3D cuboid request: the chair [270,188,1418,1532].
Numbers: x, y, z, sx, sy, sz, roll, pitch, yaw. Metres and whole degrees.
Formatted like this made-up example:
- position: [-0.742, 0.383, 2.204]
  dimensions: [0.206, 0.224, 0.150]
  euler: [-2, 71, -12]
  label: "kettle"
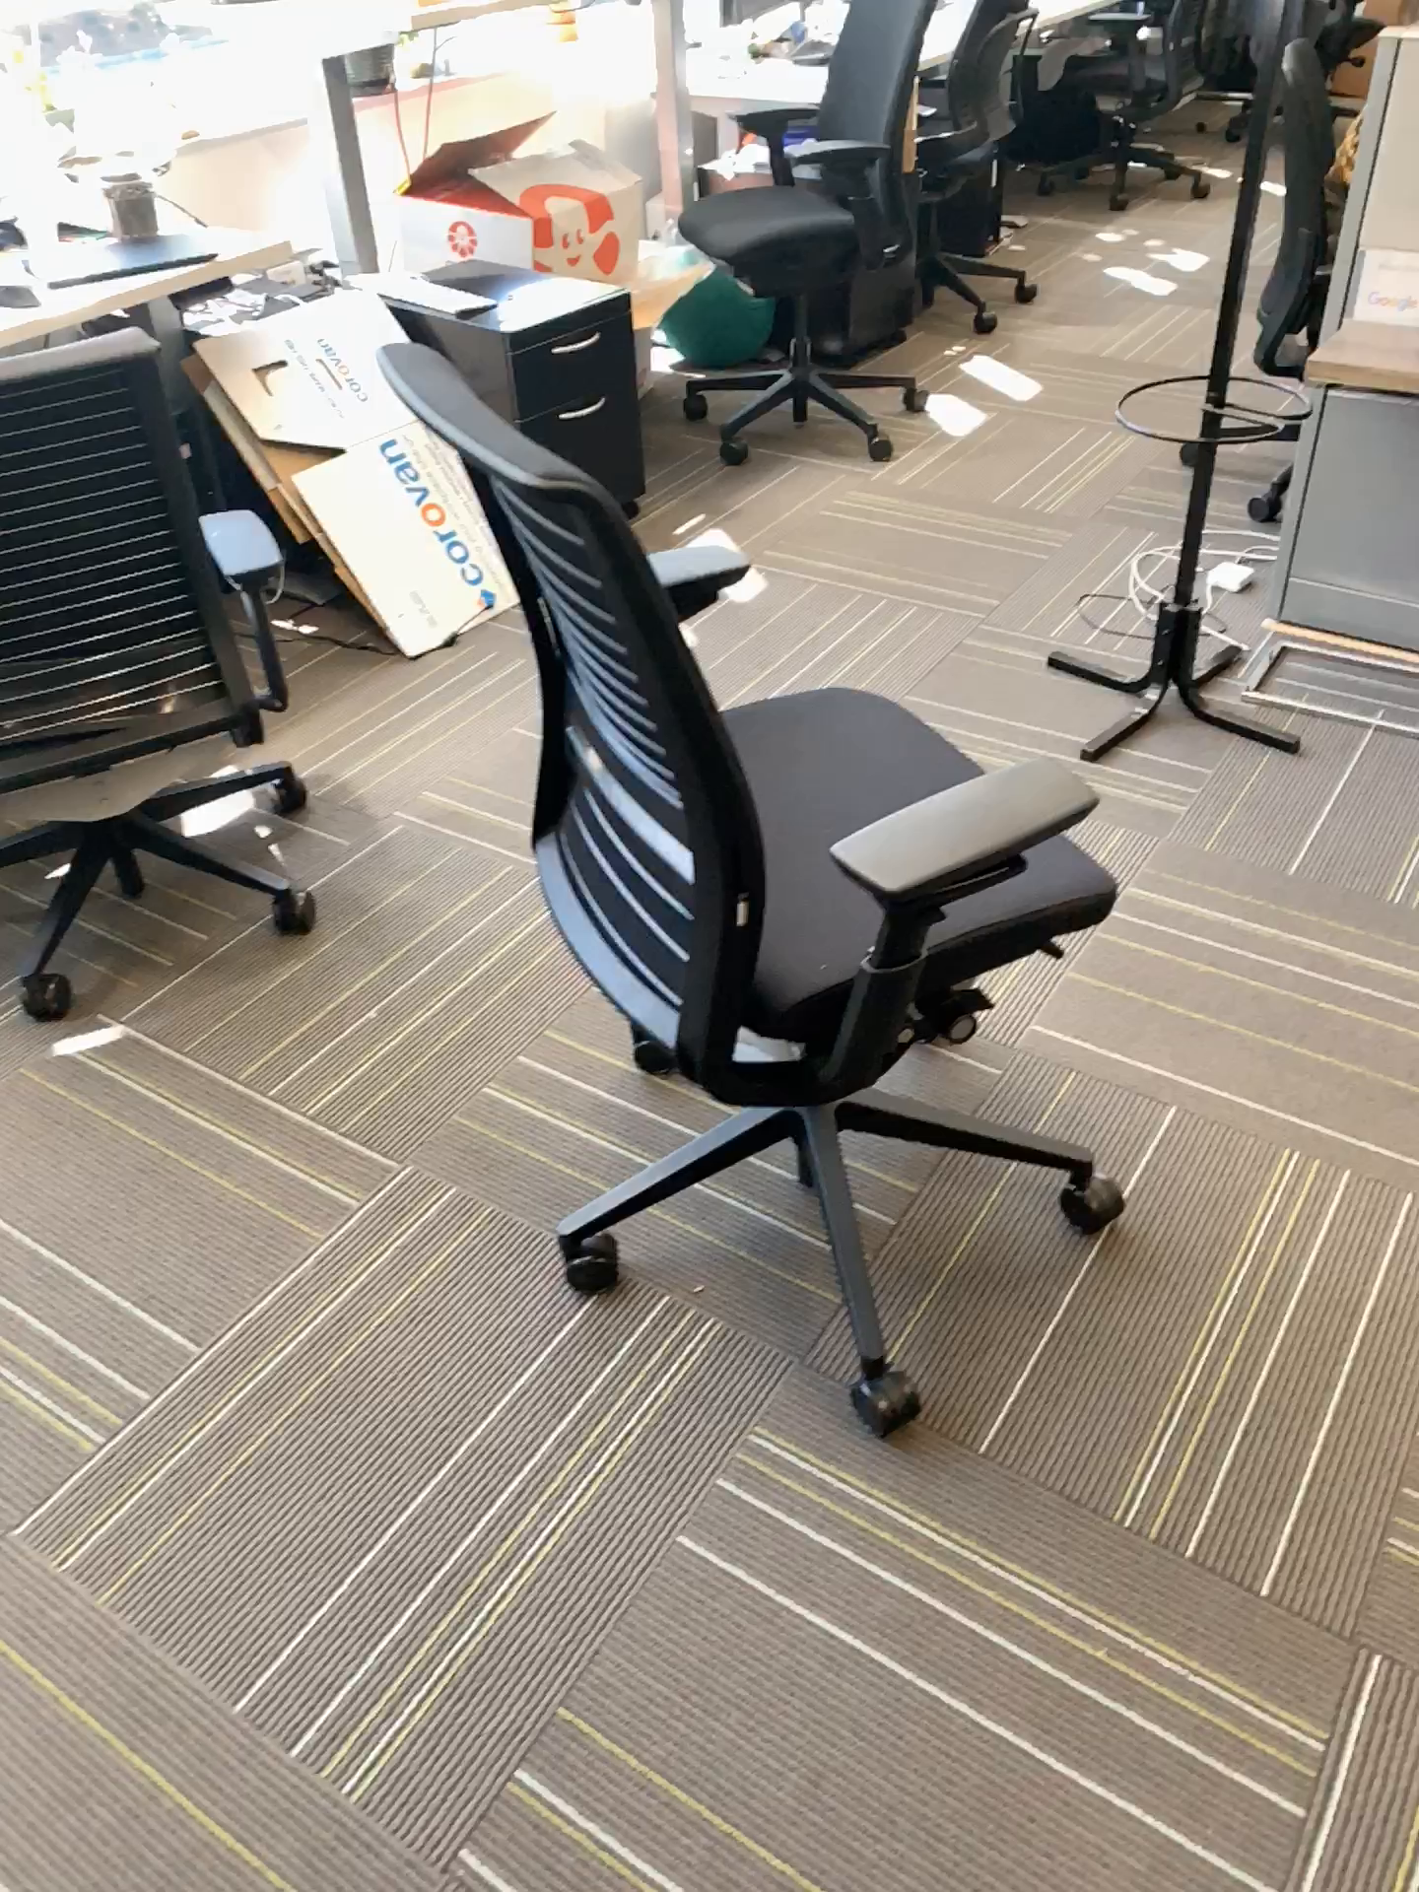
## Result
- position: [0.089, -0.125, 1.498]
  dimensions: [0.670, 0.994, 0.755]
  euler: [-20, 41, -21]
  label: "chair"
